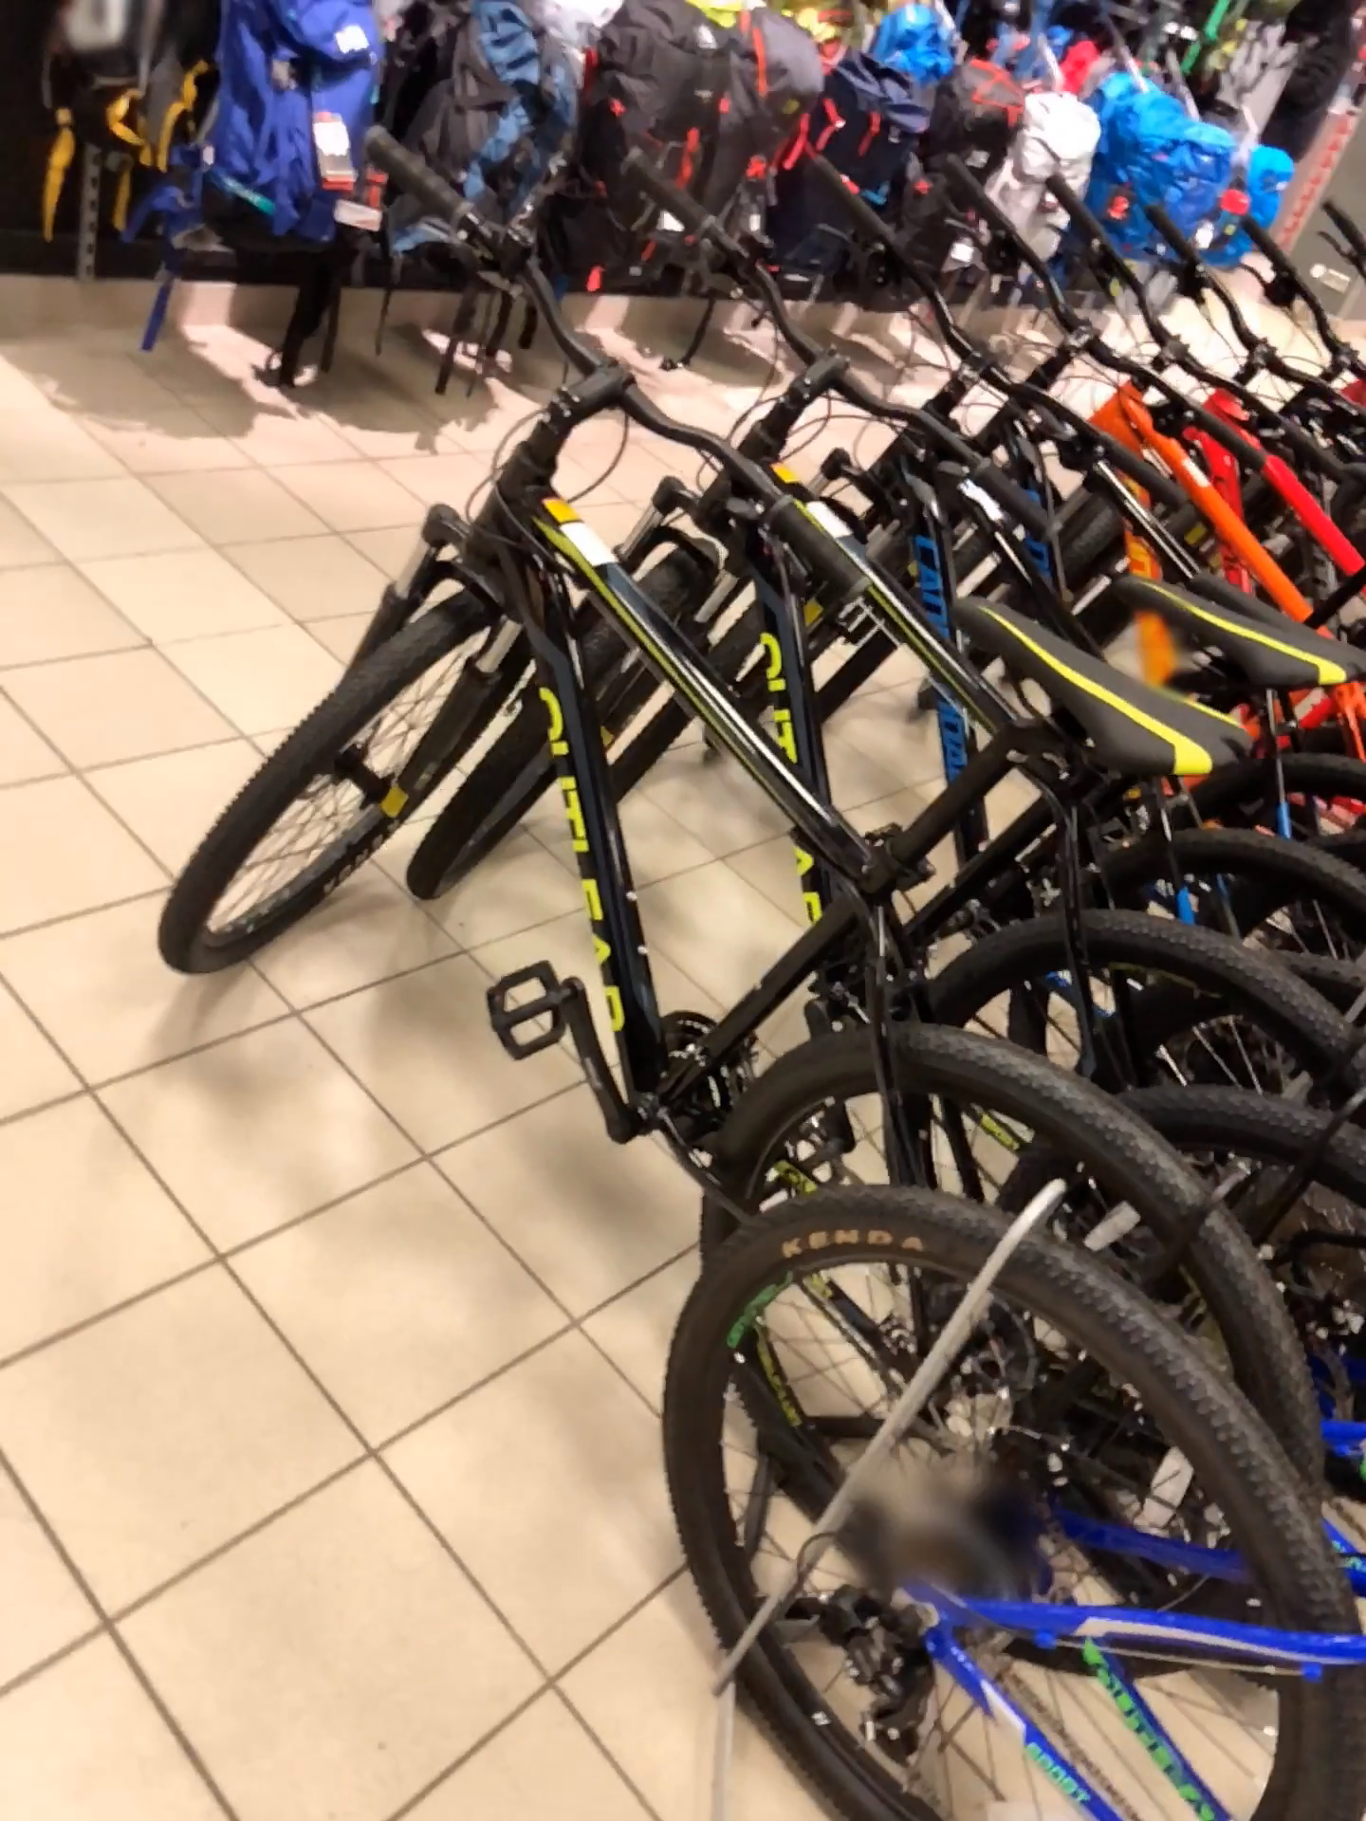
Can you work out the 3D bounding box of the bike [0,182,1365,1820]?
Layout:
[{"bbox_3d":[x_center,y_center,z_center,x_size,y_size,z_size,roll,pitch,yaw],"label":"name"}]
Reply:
[{"bbox_3d":[-0.015,0.151,1.372,1.352,1.044,0.665,33,35,19],"label":"bike"}]
